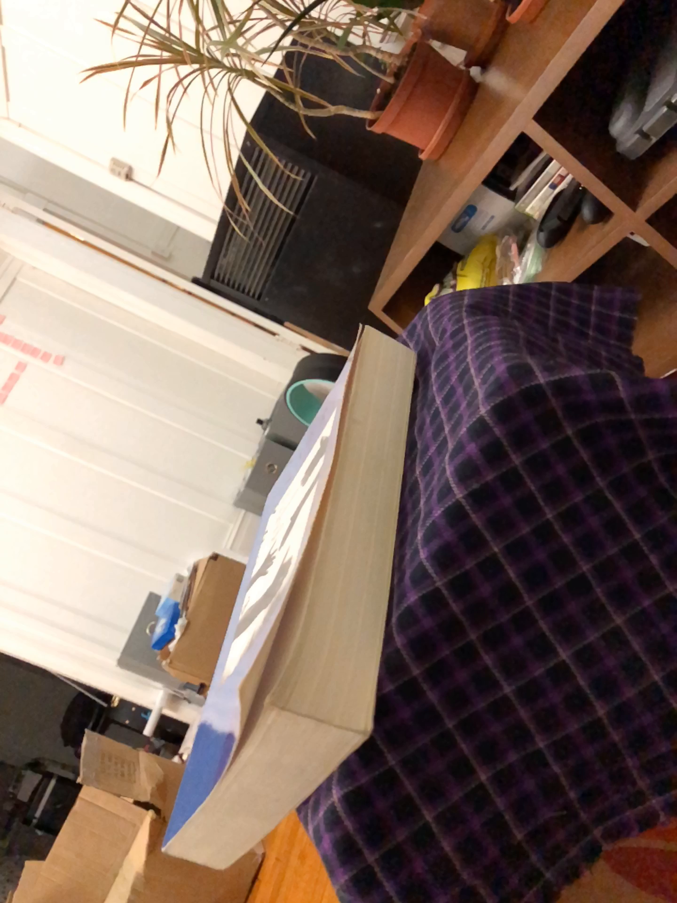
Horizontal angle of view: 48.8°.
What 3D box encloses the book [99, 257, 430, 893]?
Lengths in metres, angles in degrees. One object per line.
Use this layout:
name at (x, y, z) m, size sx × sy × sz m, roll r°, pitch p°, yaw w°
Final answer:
book at (-0.030, 0.051, 0.378) m, size 0.200 × 0.040 × 0.261 m, roll -57°, pitch 13°, yaw 41°
